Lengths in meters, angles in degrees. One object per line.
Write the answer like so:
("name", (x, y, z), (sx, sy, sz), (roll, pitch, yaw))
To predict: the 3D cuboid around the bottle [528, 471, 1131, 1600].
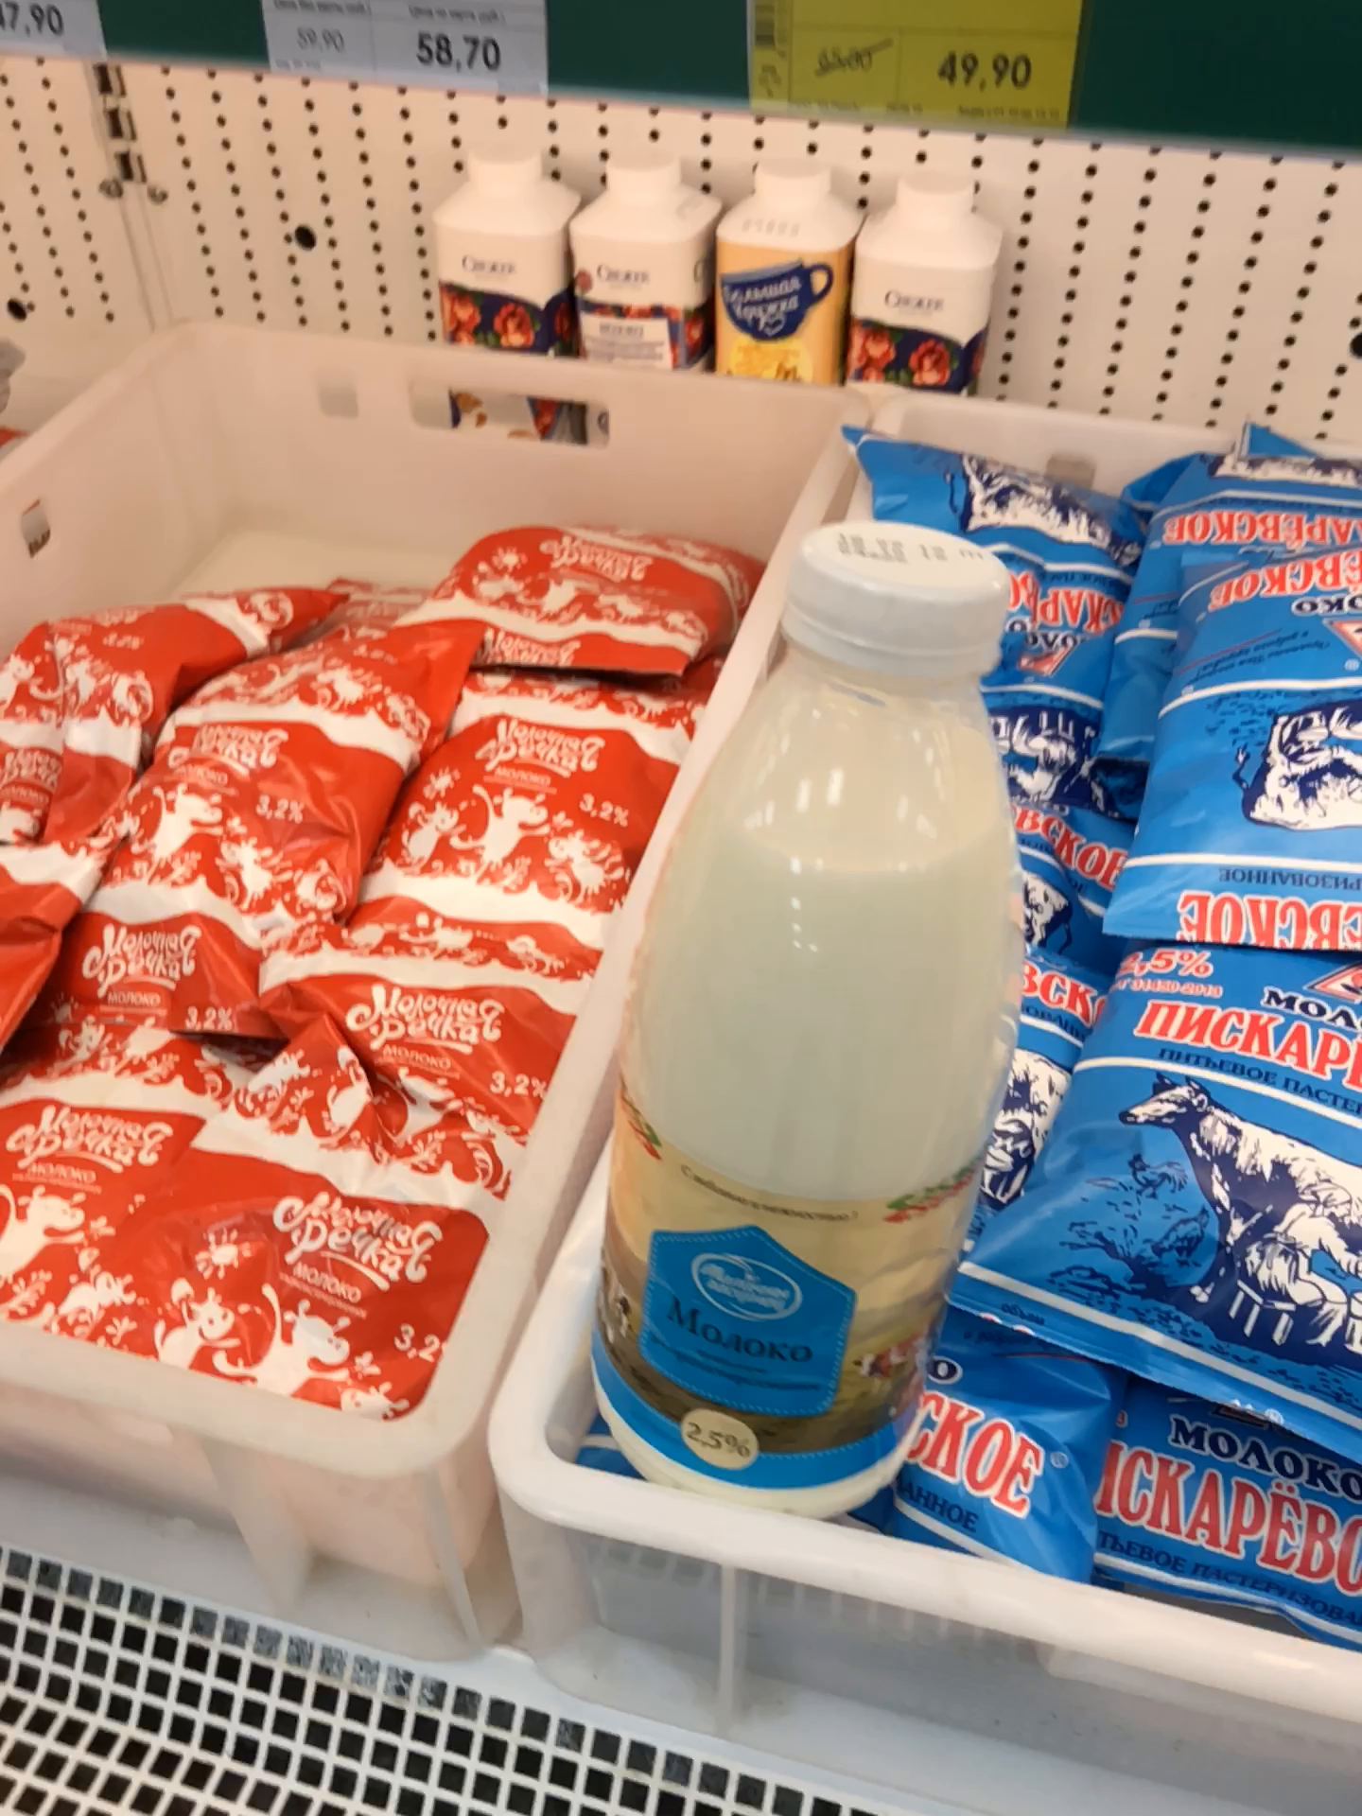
("bottle", (0.028, 0.032, 0.345), (0.090, 0.229, 0.090), (4, 29, -2))
